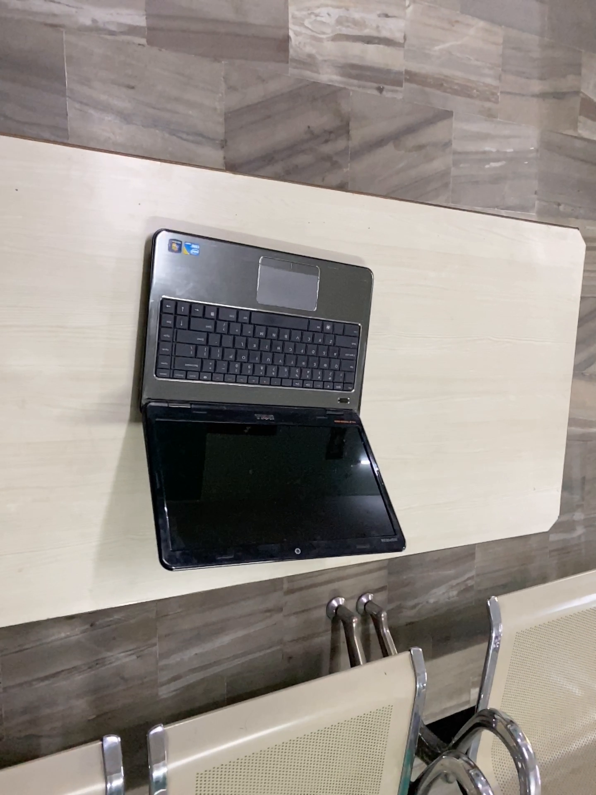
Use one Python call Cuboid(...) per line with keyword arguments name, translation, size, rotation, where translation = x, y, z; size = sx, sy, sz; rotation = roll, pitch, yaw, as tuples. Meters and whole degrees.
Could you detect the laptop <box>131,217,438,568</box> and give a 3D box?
Cuboid(name="laptop", translation=(-0.020, -0.001, 0.788), size=(0.329, 0.152, 0.378), rotation=(3, 95, -27))
